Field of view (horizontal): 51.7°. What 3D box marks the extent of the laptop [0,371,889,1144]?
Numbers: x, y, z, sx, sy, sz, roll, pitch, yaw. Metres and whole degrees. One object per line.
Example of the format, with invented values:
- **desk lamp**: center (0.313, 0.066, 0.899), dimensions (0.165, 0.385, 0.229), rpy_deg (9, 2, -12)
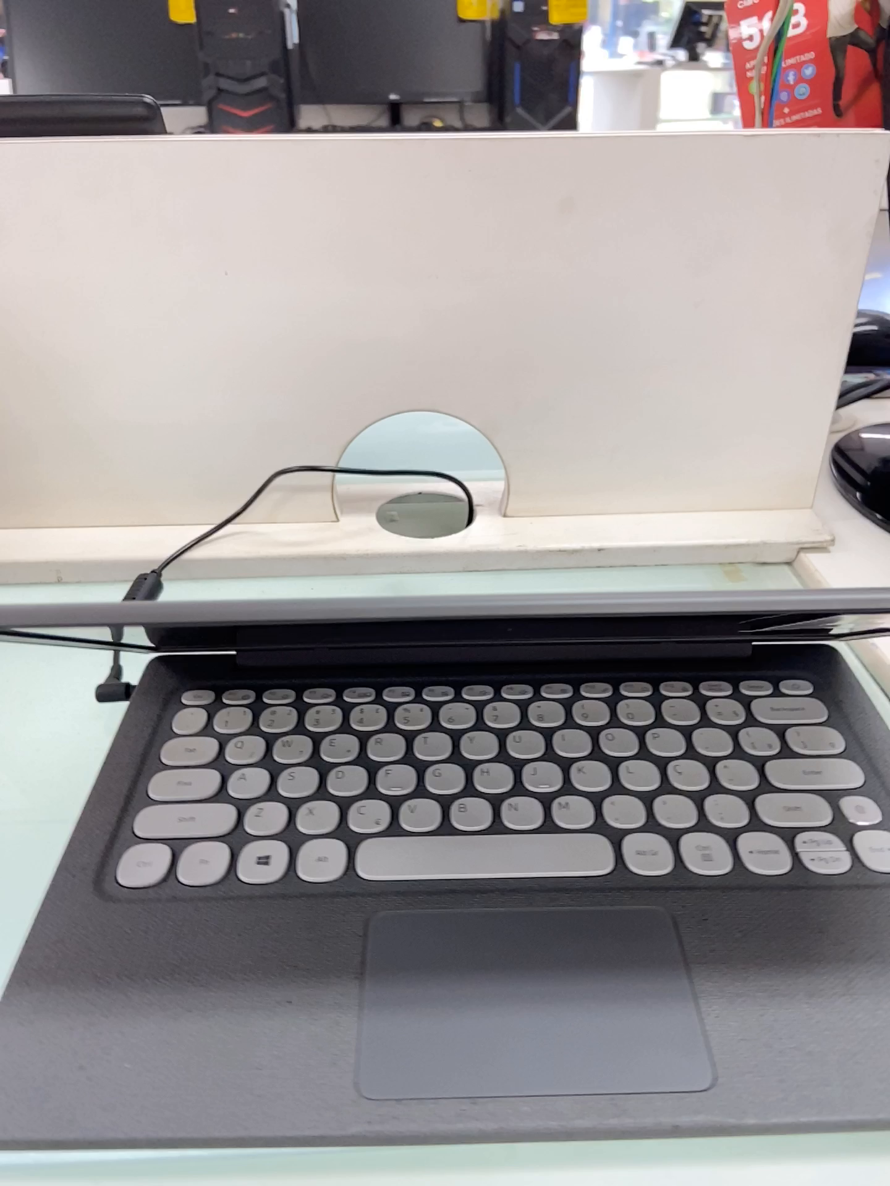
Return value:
- **laptop**: center (0.026, 0.029, 0.299), dimensions (0.316, 0.132, 0.213), rpy_deg (-1, 32, -1)
